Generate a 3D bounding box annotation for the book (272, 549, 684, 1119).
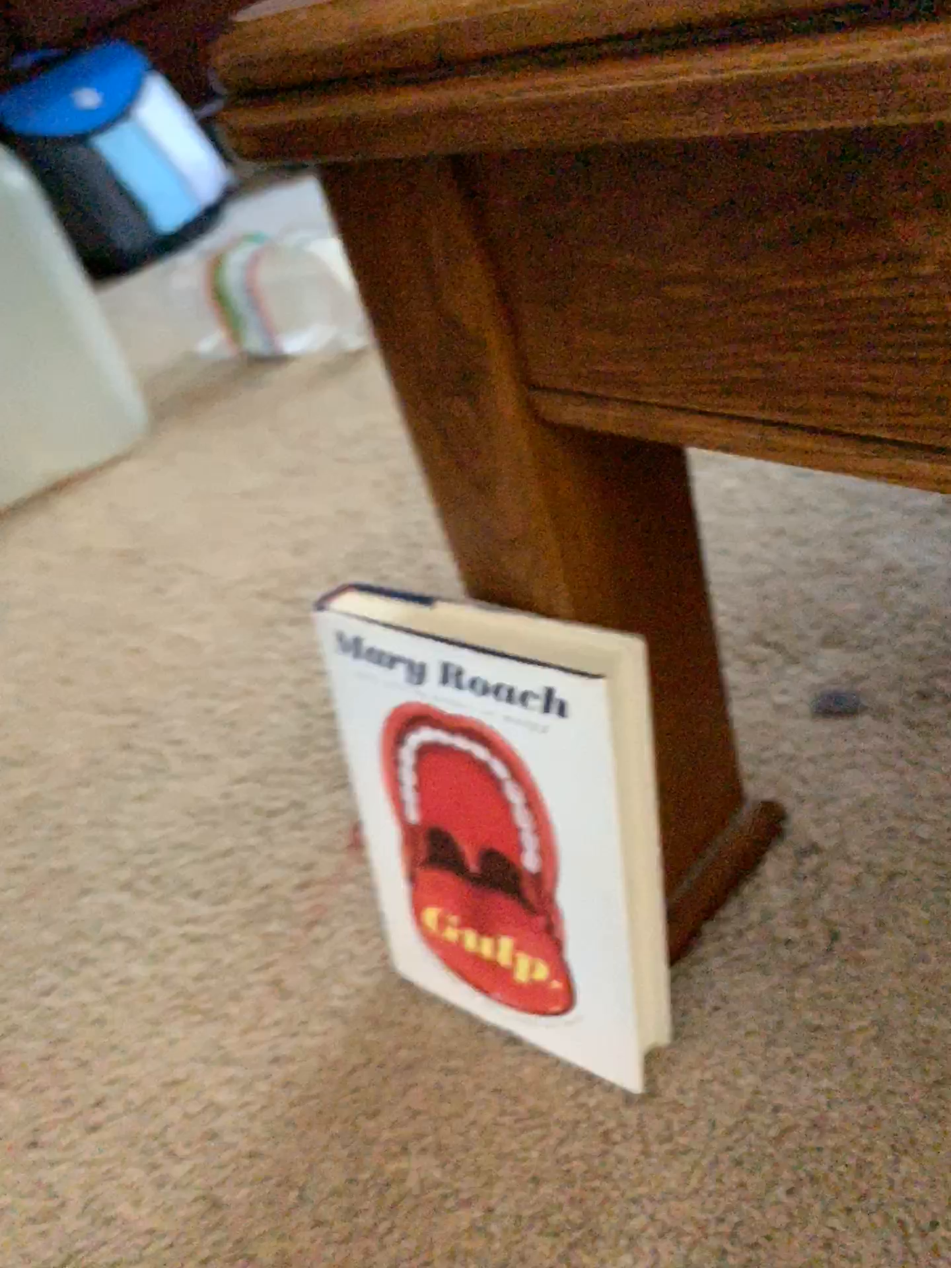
[{"bbox_3d":[0.005,0.086,0.441,0.161,0.229,0.040,13,35,36],"label":"book"}]
